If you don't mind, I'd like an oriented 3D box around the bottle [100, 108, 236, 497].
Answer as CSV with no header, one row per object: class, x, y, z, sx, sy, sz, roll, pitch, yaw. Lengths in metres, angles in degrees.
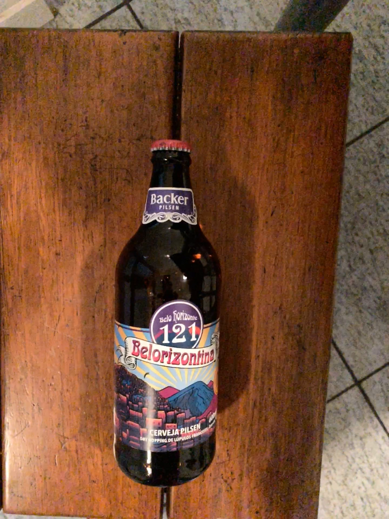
bottle,-0.019,0.029,0.275,0.080,0.050,0.240,-1,97,-10
